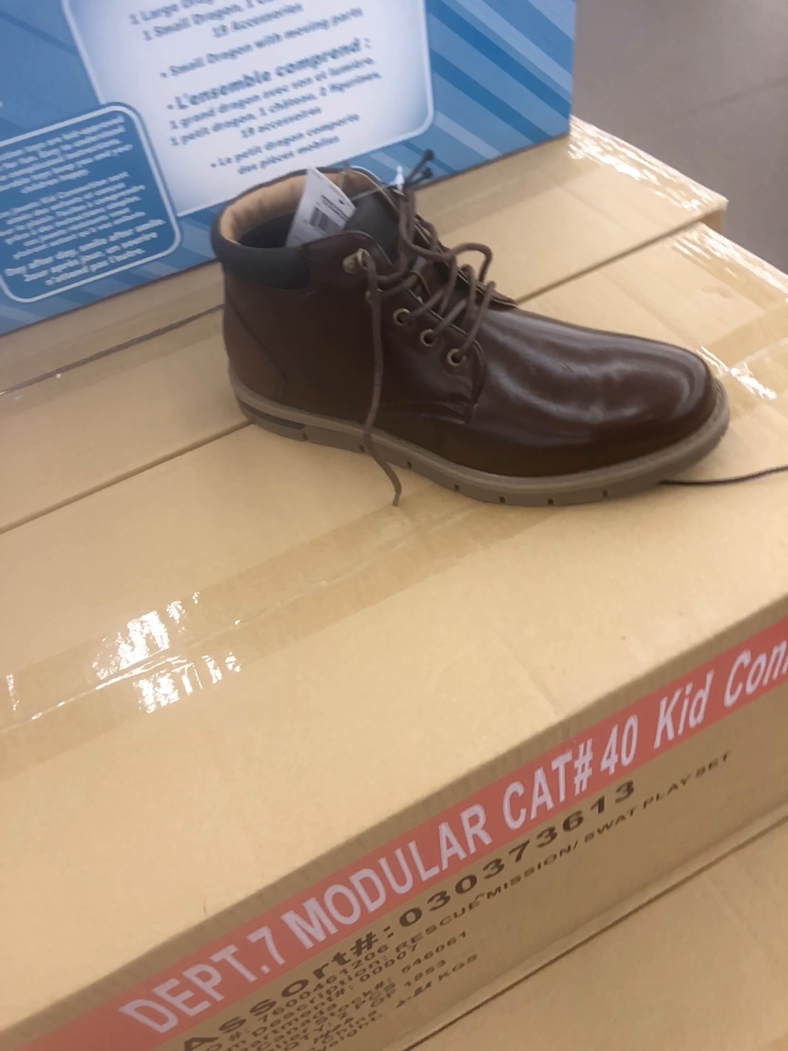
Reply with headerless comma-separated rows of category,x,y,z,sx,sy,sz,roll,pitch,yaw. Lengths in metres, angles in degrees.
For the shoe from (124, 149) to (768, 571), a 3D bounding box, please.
shoe,0.032,-0.097,0.482,0.290,0.160,0.120,11,53,20
